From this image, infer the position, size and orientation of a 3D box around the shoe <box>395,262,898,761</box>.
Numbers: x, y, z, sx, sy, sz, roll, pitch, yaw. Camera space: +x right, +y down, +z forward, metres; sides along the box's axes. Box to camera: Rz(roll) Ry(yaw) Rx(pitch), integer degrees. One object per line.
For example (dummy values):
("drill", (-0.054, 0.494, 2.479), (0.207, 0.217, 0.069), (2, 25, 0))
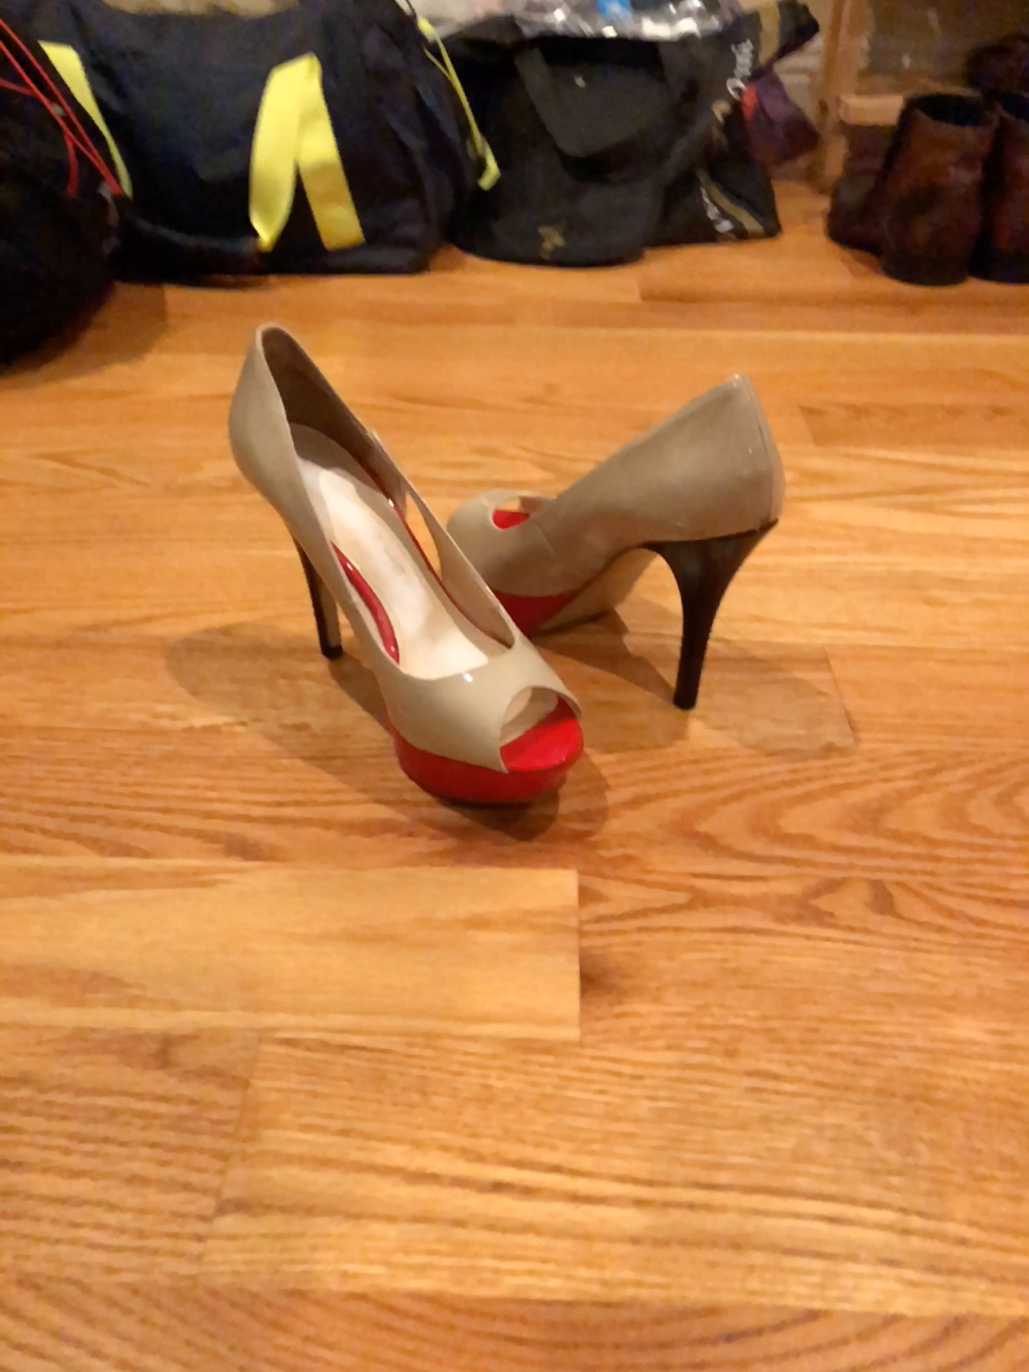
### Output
("shoe", (0.046, -0.092, 0.529), (0.080, 0.149, 0.221), (-27, 43, -33))

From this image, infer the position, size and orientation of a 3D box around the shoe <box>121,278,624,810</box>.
("shoe", (-0.064, -0.071, 0.466), (0.085, 0.129, 0.216), (-25, 42, -32))
